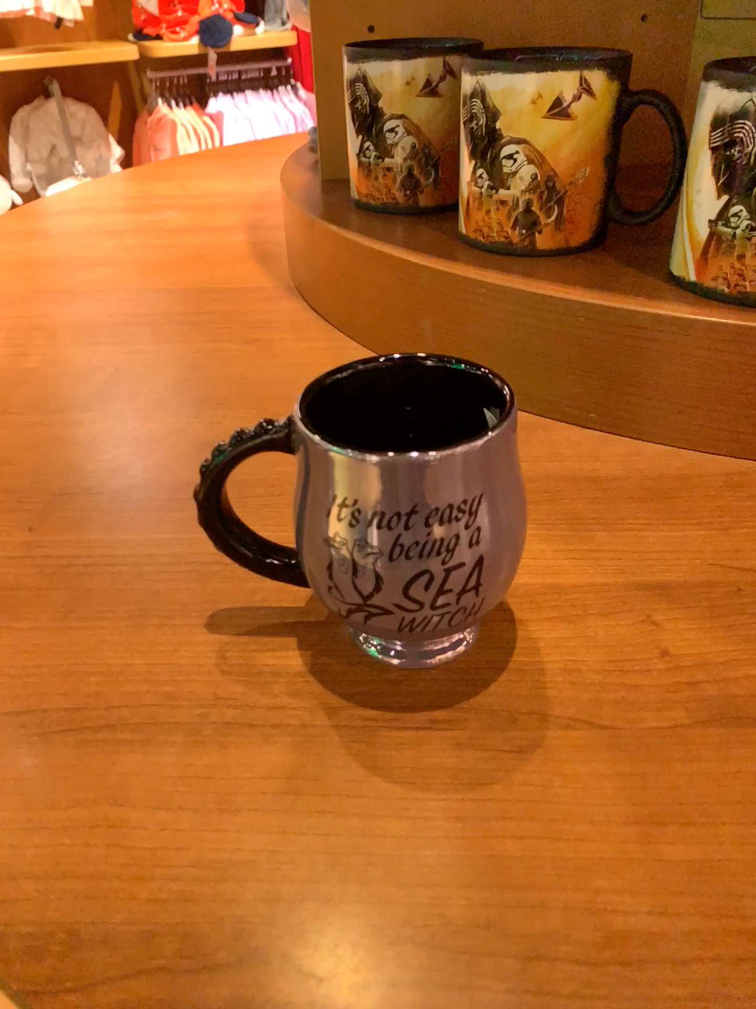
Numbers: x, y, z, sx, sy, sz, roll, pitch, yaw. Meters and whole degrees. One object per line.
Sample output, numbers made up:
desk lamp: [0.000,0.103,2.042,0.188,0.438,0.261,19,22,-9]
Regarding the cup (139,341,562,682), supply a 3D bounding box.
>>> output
cup: [-0.006,0.001,0.289,0.125,0.089,0.087,-1,34,2]
